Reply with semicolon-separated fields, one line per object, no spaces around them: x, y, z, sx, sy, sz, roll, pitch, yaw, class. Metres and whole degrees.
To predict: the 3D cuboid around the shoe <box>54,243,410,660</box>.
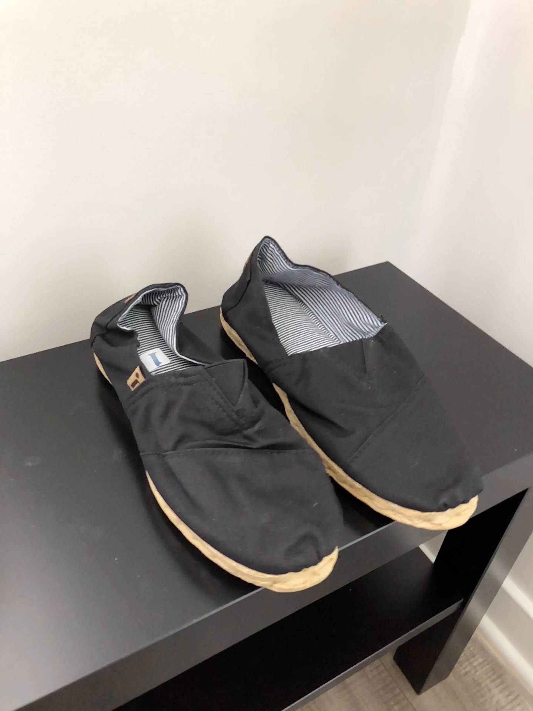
-0.044;0.032;0.386;0.101;0.080;0.275;-18;44;-26;shoe

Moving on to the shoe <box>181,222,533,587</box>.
0.044;0.008;0.419;0.101;0.080;0.275;-18;44;-26;shoe
